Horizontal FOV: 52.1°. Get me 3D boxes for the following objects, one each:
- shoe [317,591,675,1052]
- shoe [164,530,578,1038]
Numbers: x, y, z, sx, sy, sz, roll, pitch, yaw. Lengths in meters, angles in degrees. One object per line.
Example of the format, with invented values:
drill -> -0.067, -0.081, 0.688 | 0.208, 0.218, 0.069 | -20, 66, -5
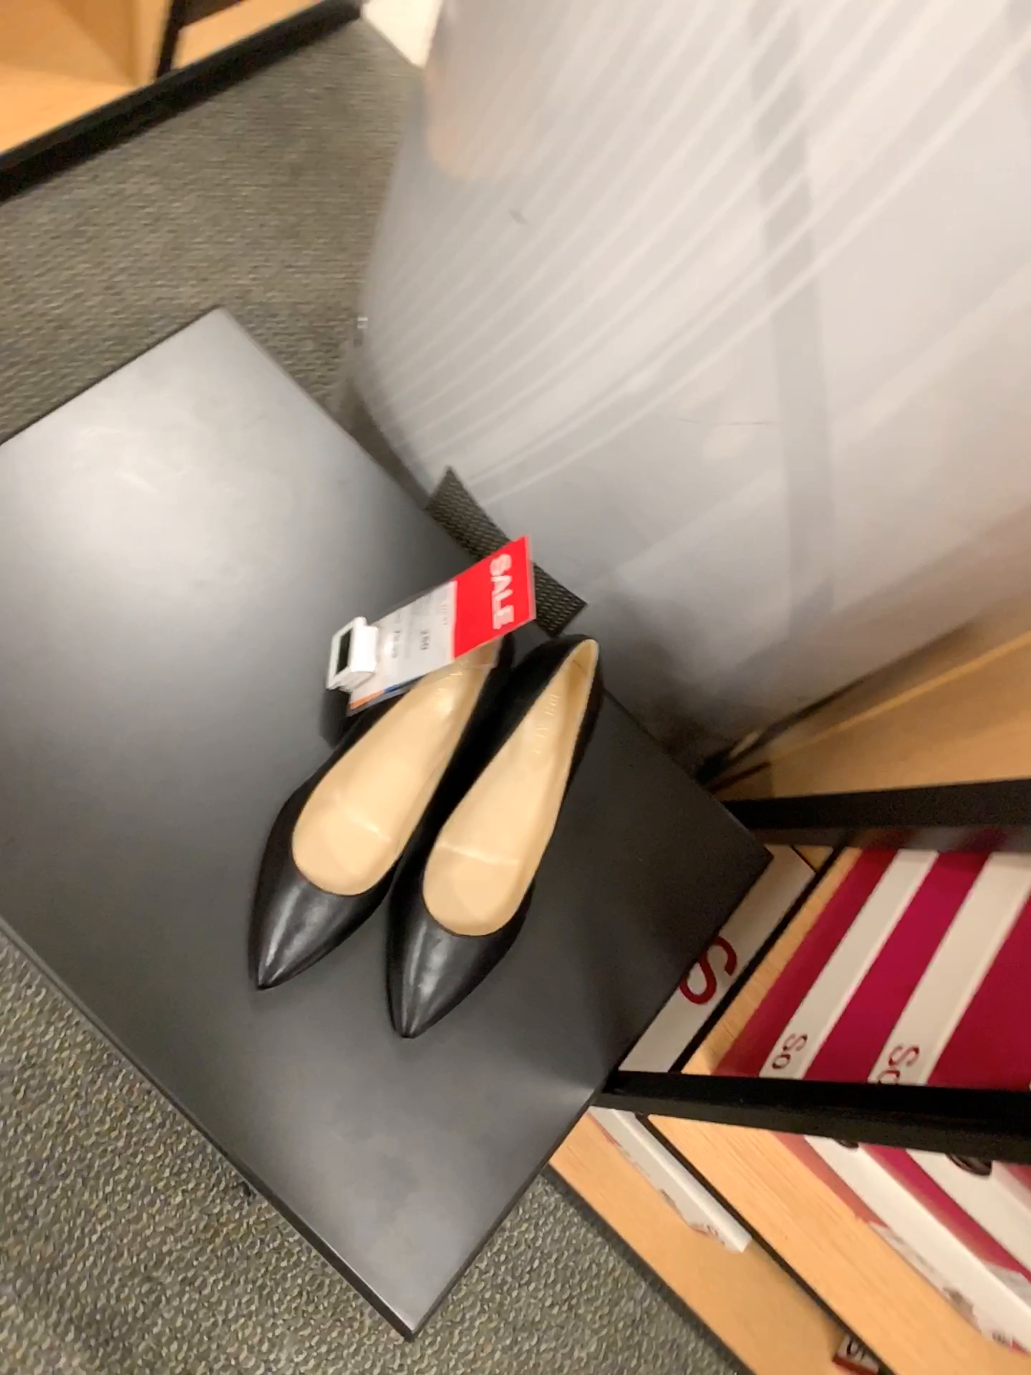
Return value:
shoe -> -0.017, 0.097, 0.694 | 0.100, 0.190, 0.250 | 27, 66, -8
shoe -> -0.091, 0.066, 0.627 | 0.100, 0.190, 0.250 | 32, 65, -6
